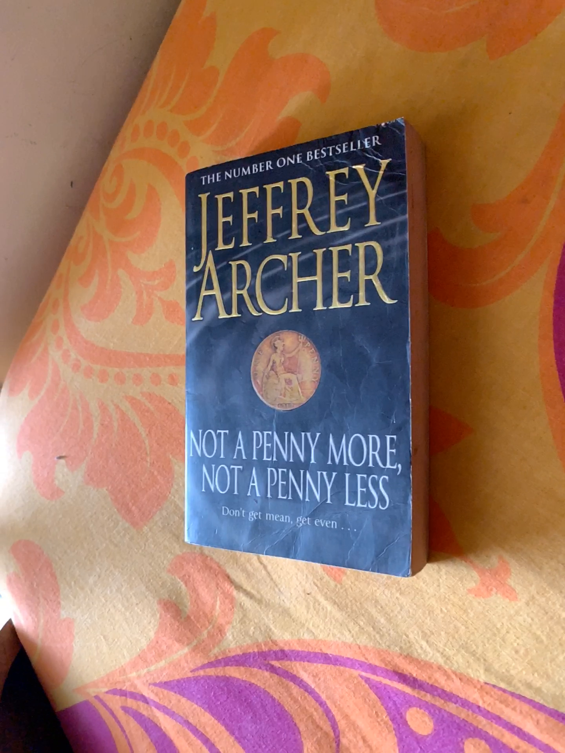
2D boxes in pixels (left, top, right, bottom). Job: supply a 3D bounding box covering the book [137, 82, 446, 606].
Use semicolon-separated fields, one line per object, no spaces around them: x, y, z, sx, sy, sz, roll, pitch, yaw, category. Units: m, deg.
0.001;-0.011;0.218;0.110;0.030;0.160;-2;84;30;book
